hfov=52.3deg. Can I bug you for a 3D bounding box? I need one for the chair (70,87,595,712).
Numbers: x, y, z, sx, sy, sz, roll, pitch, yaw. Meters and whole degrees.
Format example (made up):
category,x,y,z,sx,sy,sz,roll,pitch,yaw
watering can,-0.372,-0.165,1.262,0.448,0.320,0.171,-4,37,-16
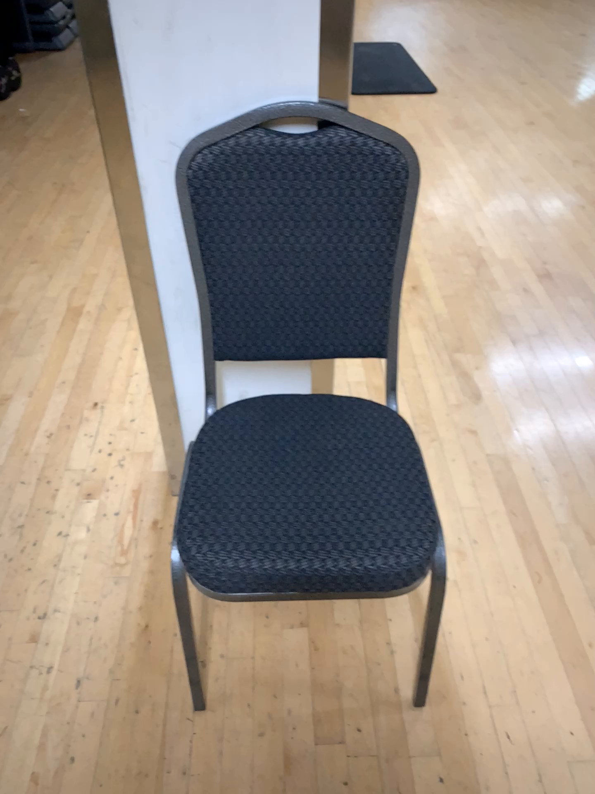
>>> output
category,x,y,z,sx,sy,sz,roll,pitch,yaw
chair,0.033,0.050,1.027,0.464,0.909,0.567,0,42,-1
